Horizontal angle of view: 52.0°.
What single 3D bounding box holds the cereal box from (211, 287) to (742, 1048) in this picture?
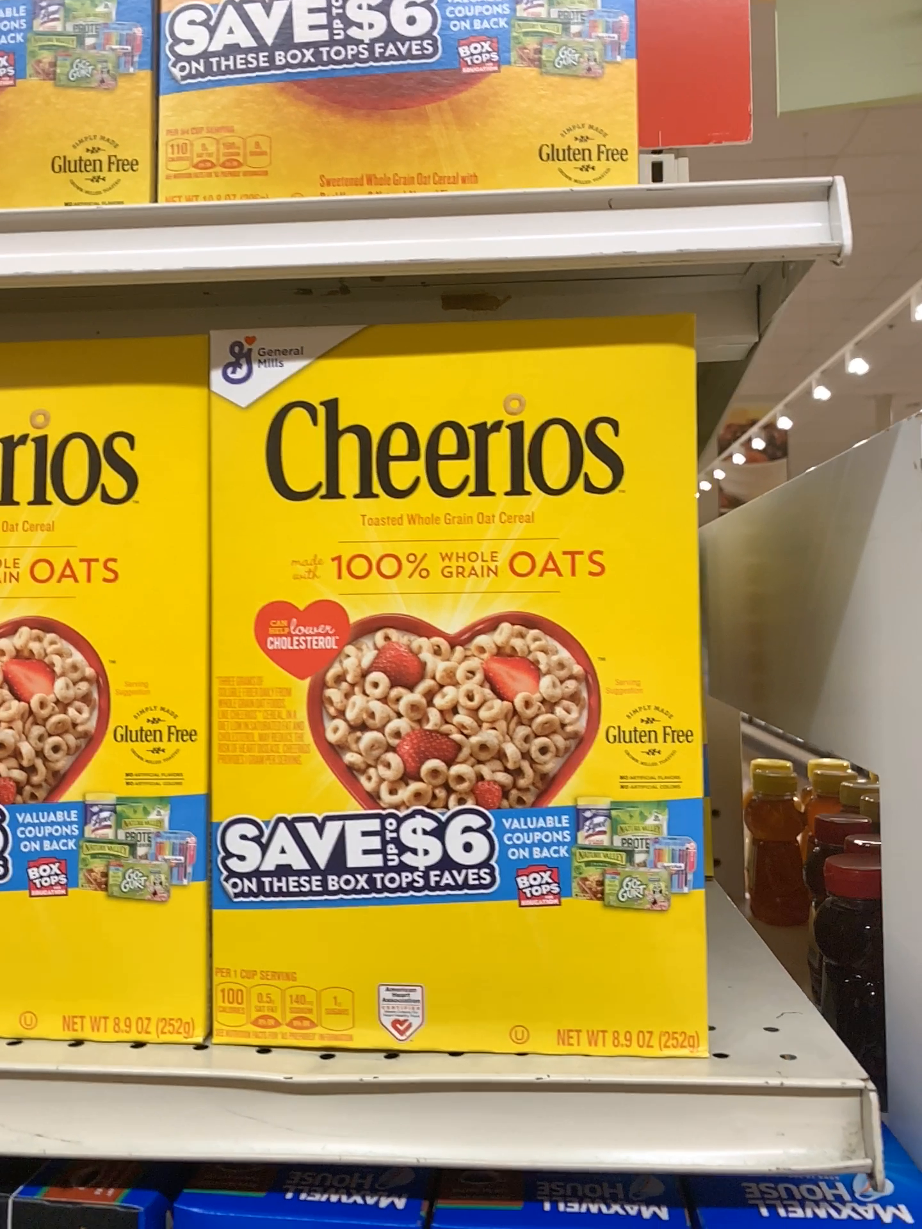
[{"bbox_3d":[0.005,0.019,0.369,0.190,0.270,0.050,-1,-1,5],"label":"cereal box"}]
